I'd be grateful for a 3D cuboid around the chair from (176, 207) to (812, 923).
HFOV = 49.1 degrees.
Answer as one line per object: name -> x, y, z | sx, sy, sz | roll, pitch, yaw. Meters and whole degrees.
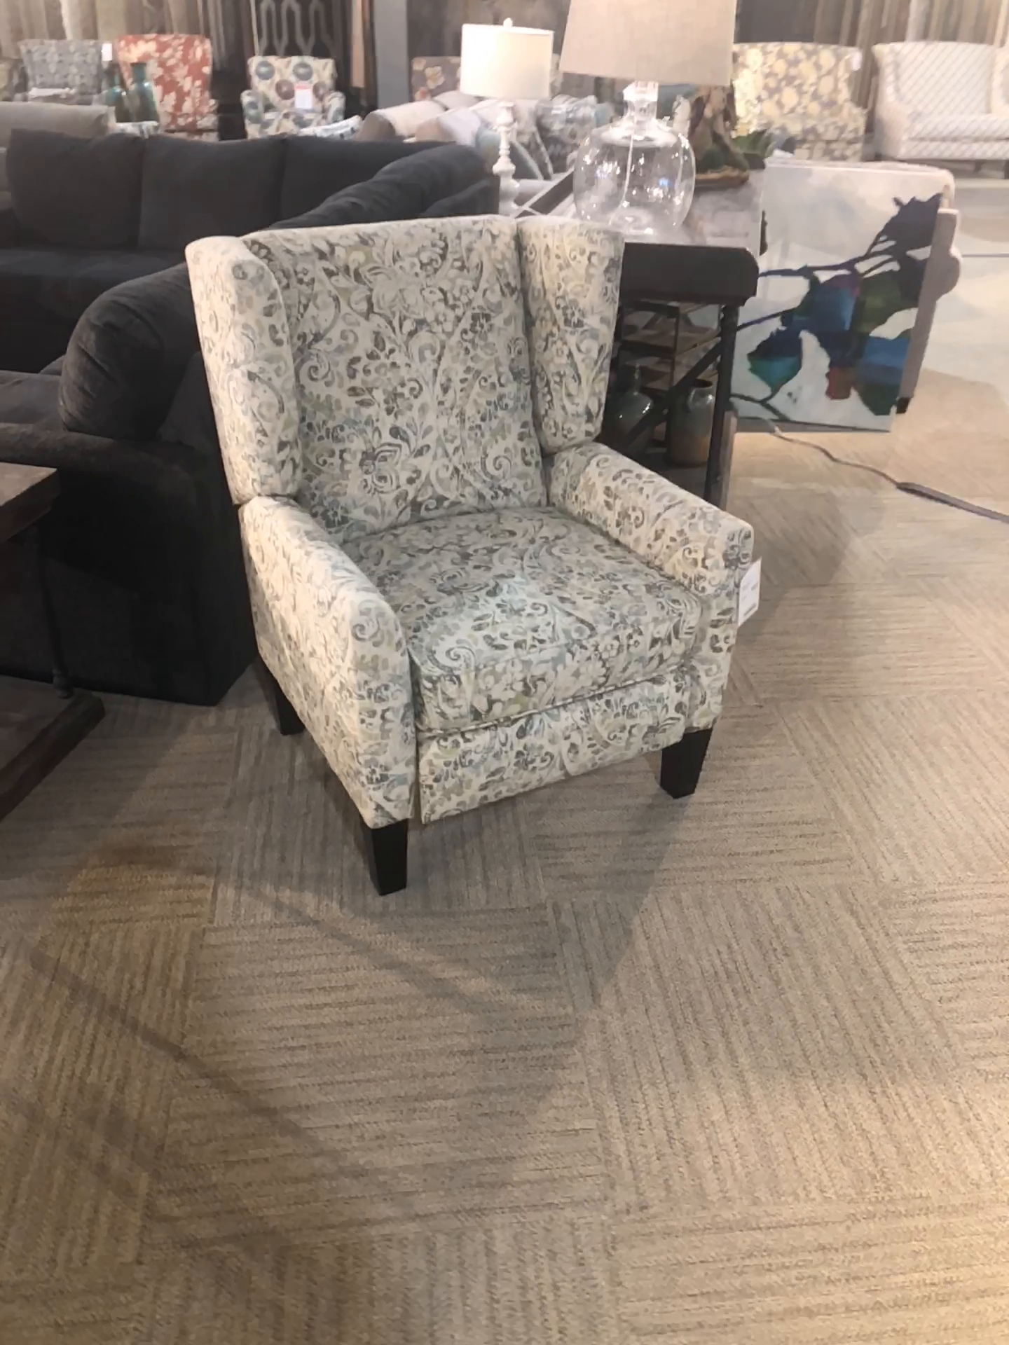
chair -> -0.072, -0.269, 2.066 | 0.781, 0.975, 0.803 | -13, 33, -22
